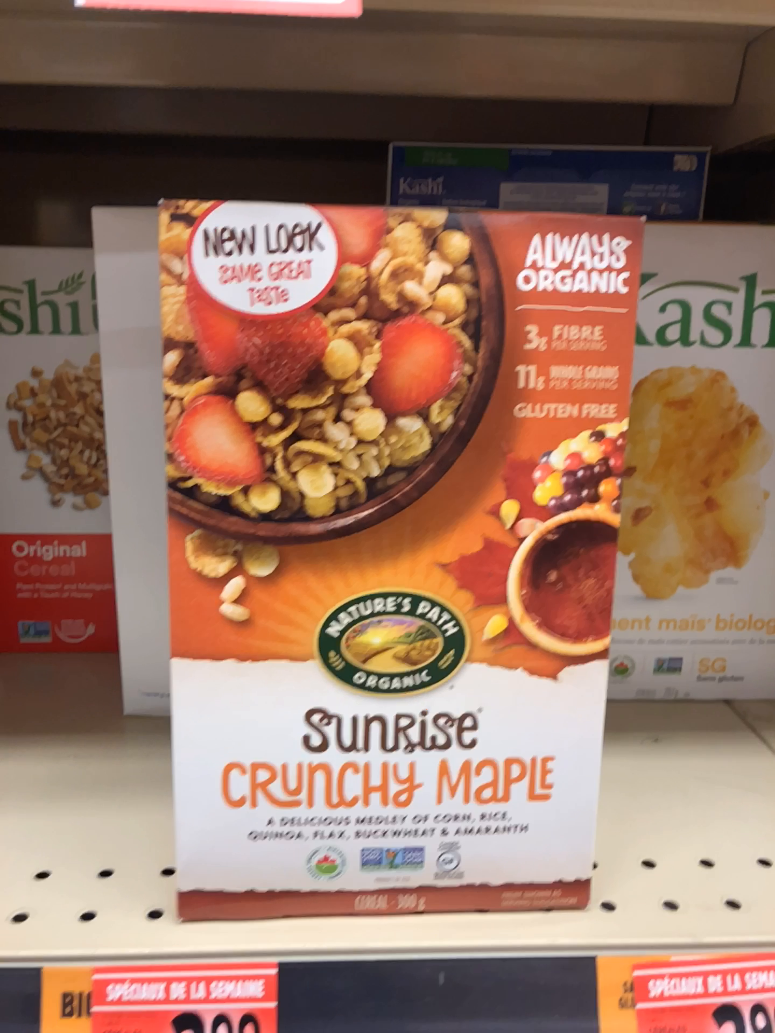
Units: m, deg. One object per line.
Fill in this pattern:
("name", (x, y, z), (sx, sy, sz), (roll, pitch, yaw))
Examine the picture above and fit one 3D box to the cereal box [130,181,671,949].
("cereal box", (0.002, 0.022, 0.326), (0.170, 0.269, 0.060), (0, 12, -4))
